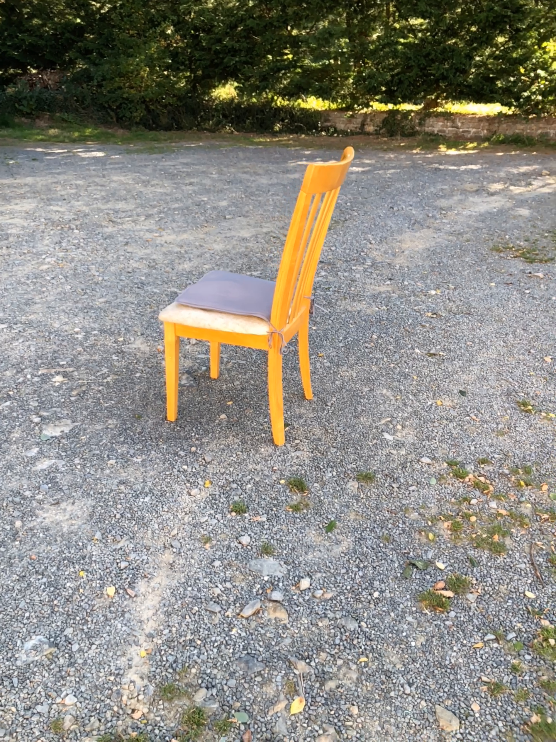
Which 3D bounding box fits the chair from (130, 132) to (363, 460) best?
[{"bbox_3d":[-0.083,-0.289,2.205,0.610,0.994,0.513,10,30,16],"label":"chair"}]
